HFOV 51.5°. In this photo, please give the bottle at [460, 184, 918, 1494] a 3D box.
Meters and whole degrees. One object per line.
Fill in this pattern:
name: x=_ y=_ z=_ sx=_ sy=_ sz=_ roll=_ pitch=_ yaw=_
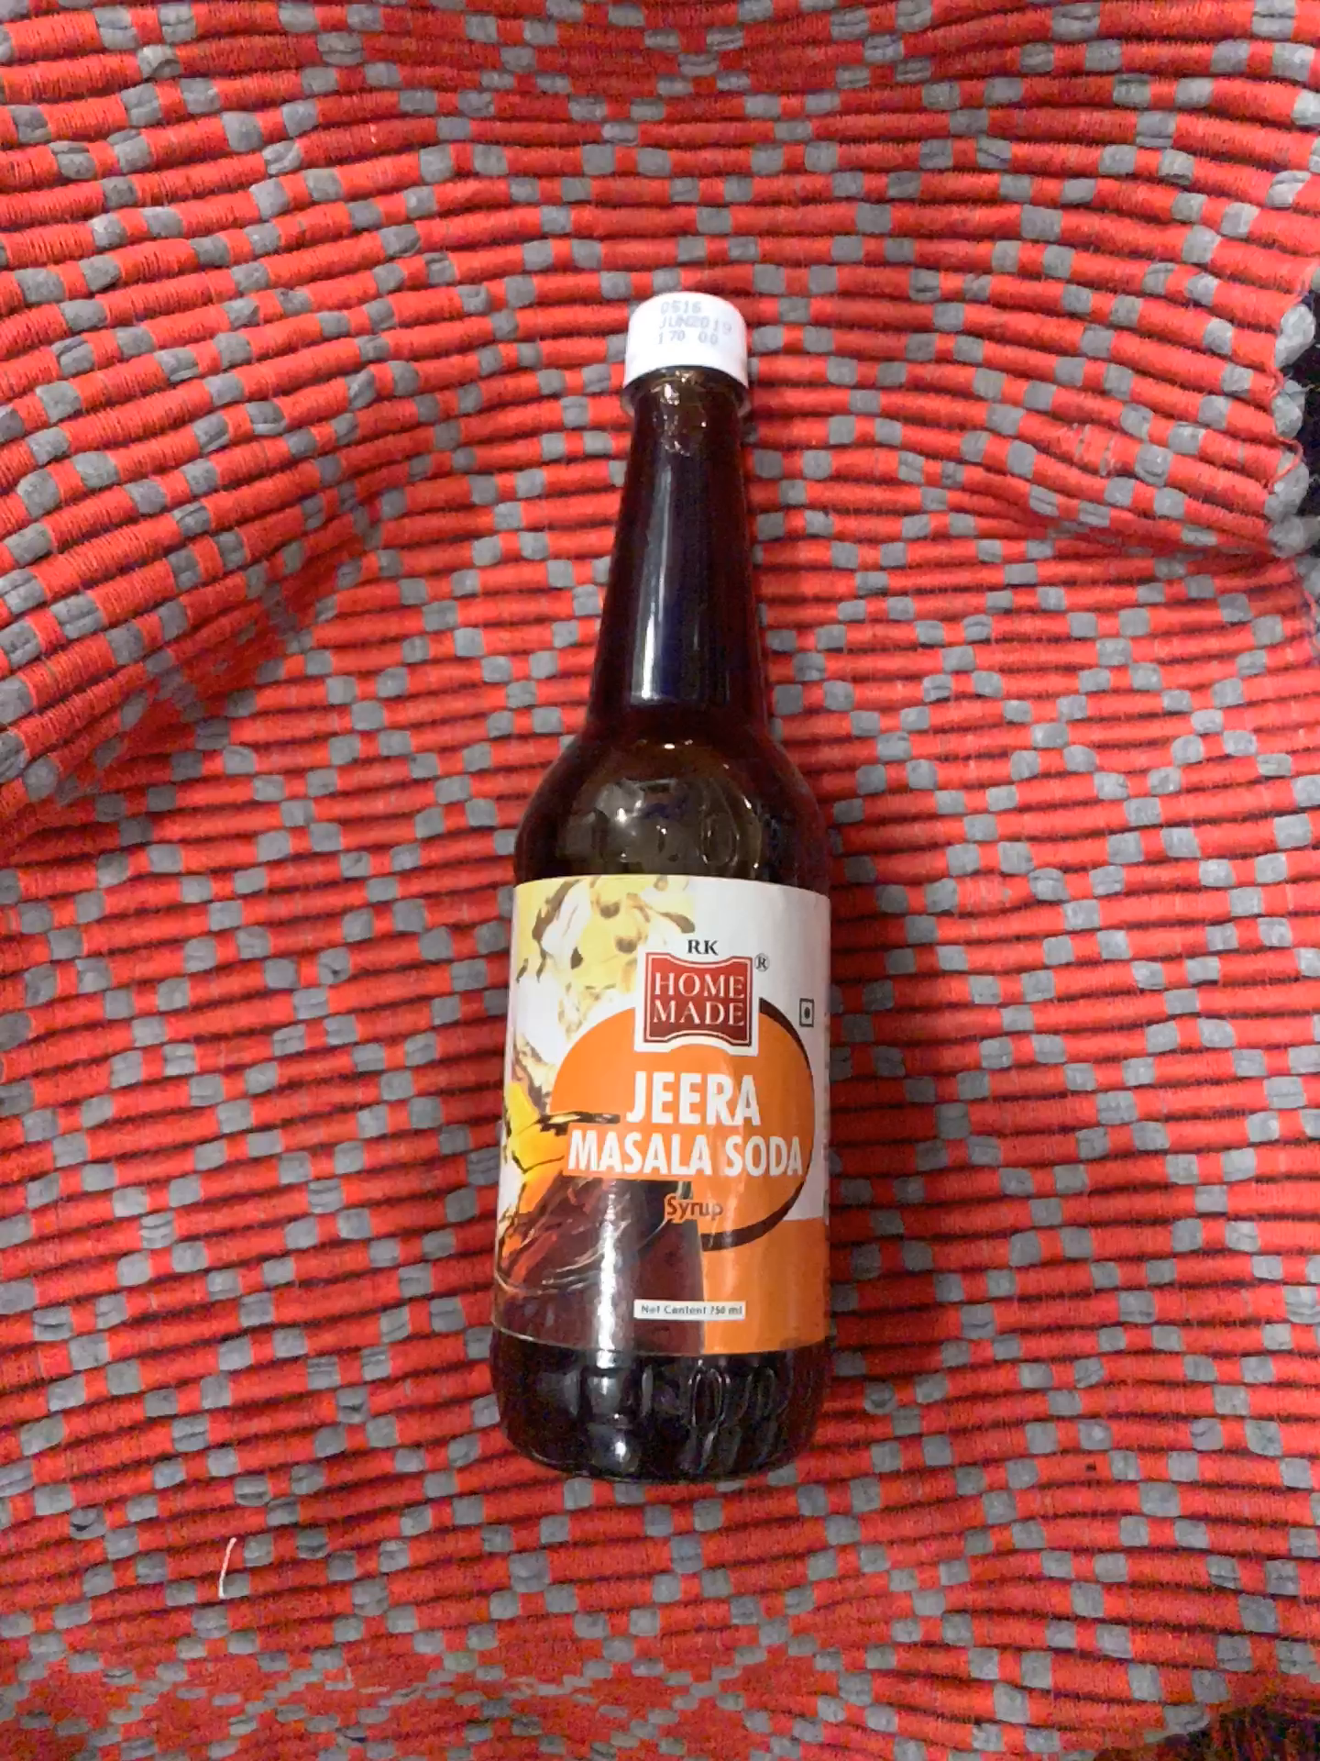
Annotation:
bottle: x=0.006 y=-0.011 z=0.304 sx=0.080 sy=0.070 sz=0.260 roll=4 pitch=78 yaw=-10
